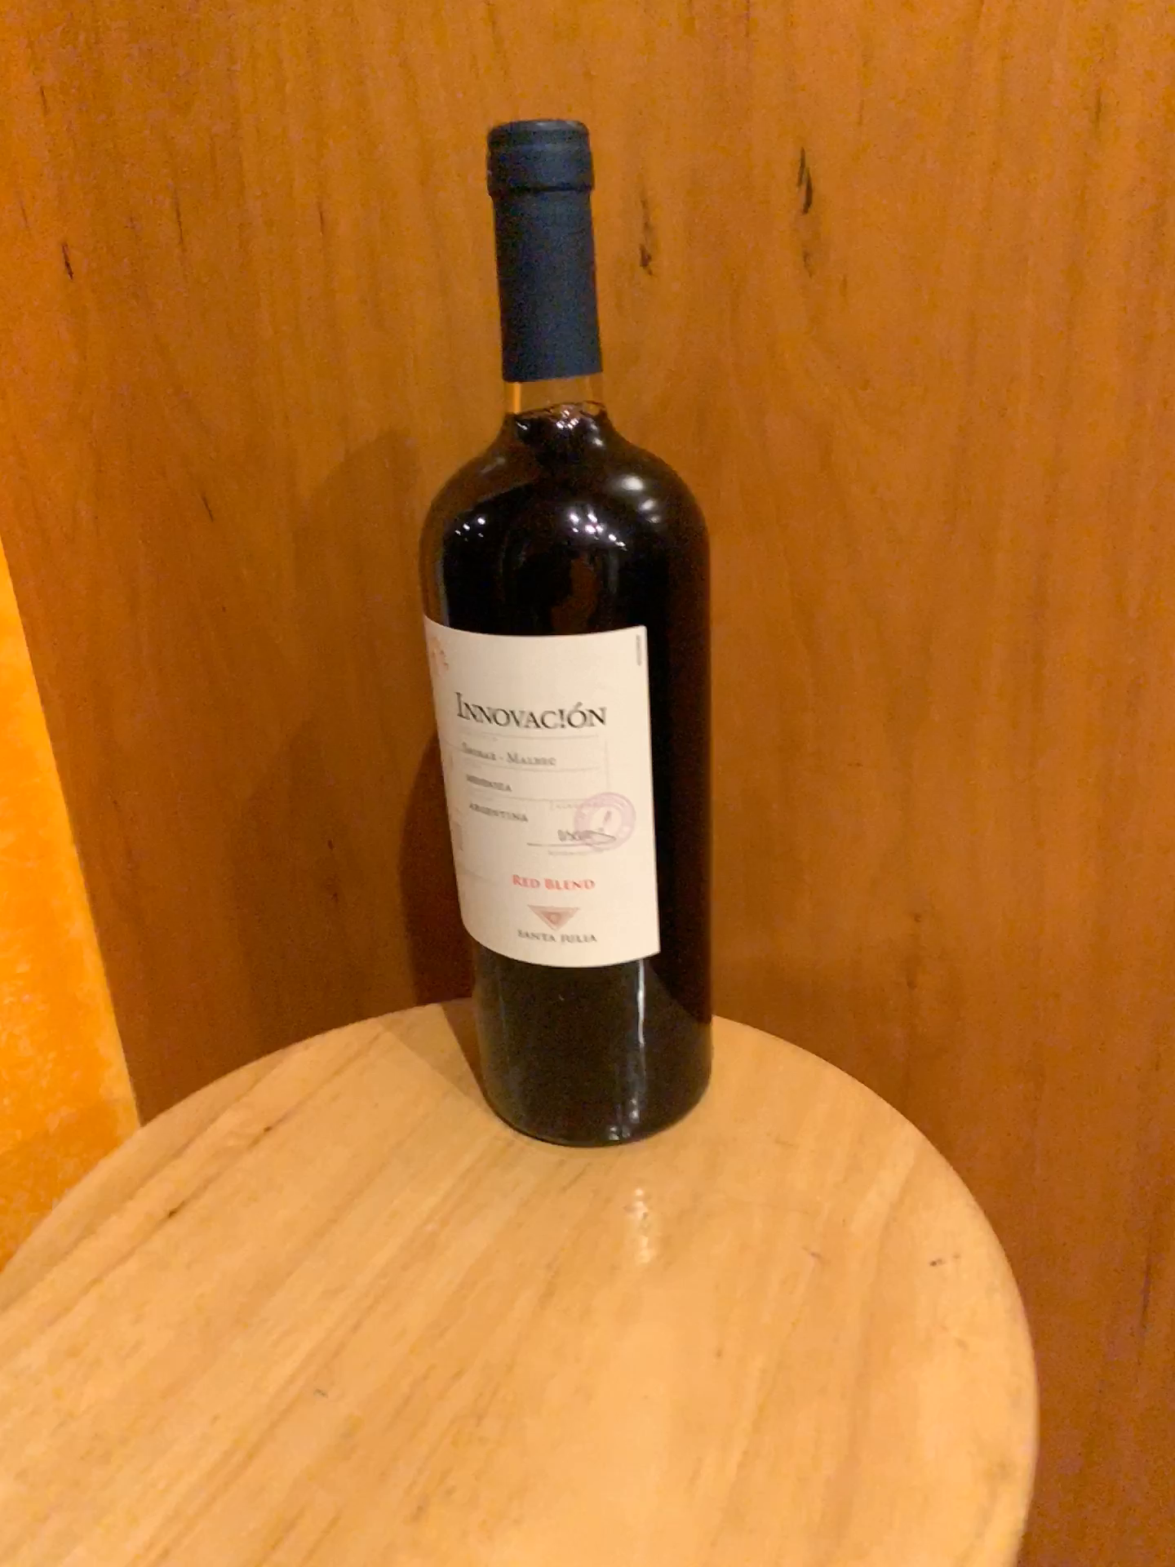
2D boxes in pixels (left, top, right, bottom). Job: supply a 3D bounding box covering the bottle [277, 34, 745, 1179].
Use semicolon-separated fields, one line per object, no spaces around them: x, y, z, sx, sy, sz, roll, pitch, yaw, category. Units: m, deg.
-0.009;-0.039;0.361;0.090;0.299;0.080;6;23;23;bottle
